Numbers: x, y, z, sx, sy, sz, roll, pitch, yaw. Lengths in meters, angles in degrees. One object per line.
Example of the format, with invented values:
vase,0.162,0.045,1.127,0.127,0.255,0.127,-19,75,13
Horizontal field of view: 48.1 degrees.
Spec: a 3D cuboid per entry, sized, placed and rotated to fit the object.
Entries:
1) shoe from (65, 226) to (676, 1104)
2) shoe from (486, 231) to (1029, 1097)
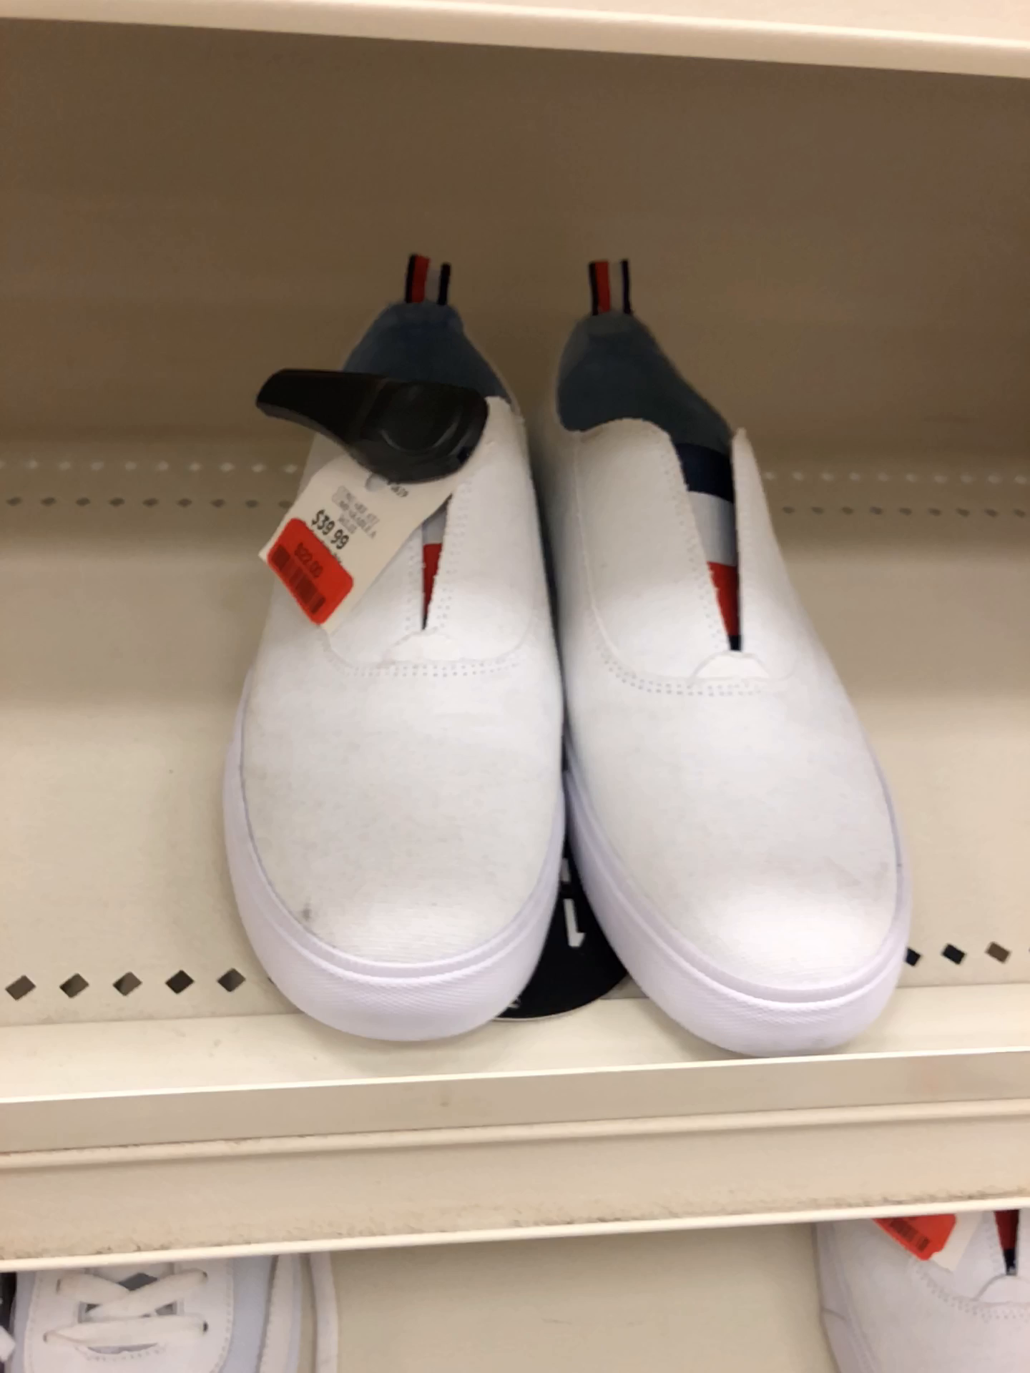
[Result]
shoe,-0.036,-0.039,0.332,0.100,0.089,0.293,0,38,-5
shoe,0.051,-0.039,0.365,0.100,0.109,0.303,0,38,-5
